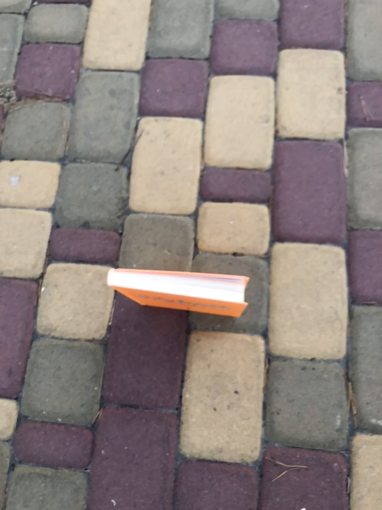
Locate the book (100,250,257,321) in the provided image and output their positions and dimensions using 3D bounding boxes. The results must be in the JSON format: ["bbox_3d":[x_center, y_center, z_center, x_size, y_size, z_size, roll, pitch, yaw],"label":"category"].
[{"bbox_3d":[-0.007,0.046,0.550,0.164,0.202,0.040,7,77,6],"label":"book"}]
